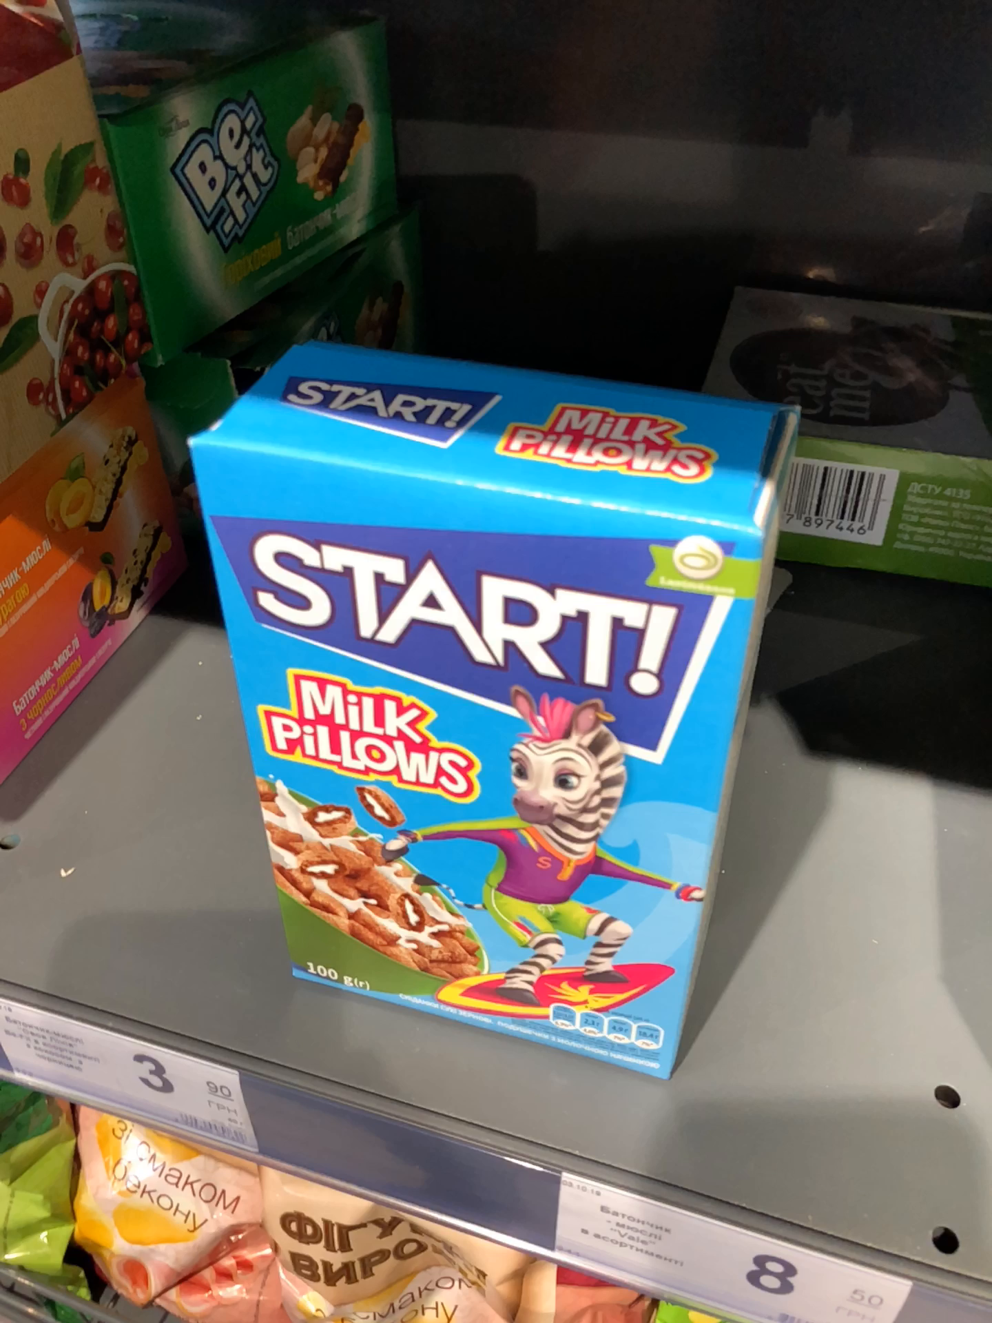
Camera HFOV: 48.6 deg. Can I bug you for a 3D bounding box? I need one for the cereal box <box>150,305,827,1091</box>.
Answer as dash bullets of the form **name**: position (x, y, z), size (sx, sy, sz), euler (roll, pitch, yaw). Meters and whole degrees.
- **cereal box**: position (0.002, 0.014, 0.273), size (0.120, 0.169, 0.071), euler (11, 40, 13)
